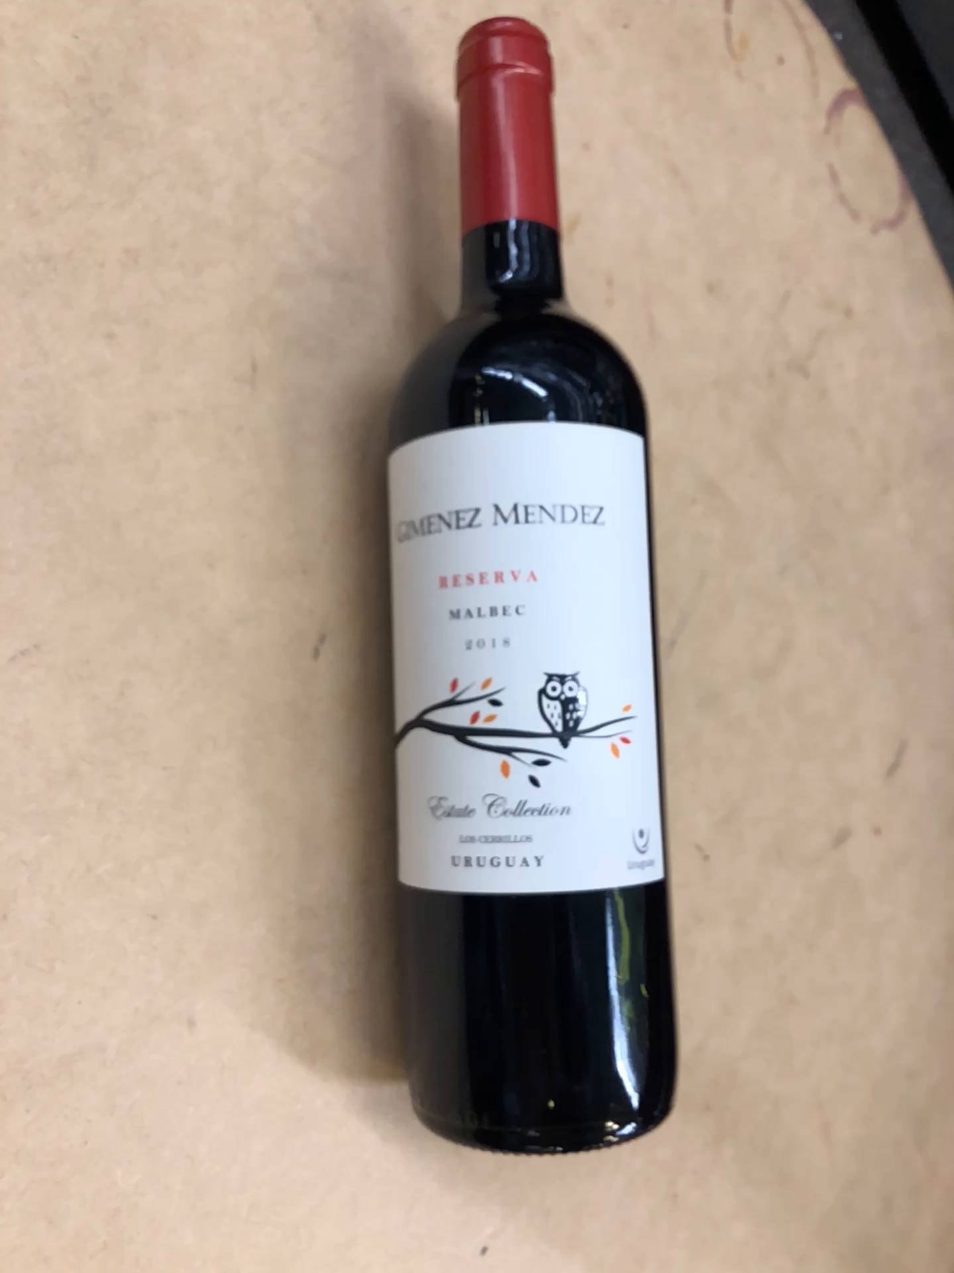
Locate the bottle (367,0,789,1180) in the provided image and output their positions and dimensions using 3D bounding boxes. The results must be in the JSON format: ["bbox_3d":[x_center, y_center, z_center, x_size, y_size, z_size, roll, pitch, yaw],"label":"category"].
[{"bbox_3d":[0.025,-0.037,0.286,0.080,0.060,0.310,2,84,-39],"label":"bottle"}]
